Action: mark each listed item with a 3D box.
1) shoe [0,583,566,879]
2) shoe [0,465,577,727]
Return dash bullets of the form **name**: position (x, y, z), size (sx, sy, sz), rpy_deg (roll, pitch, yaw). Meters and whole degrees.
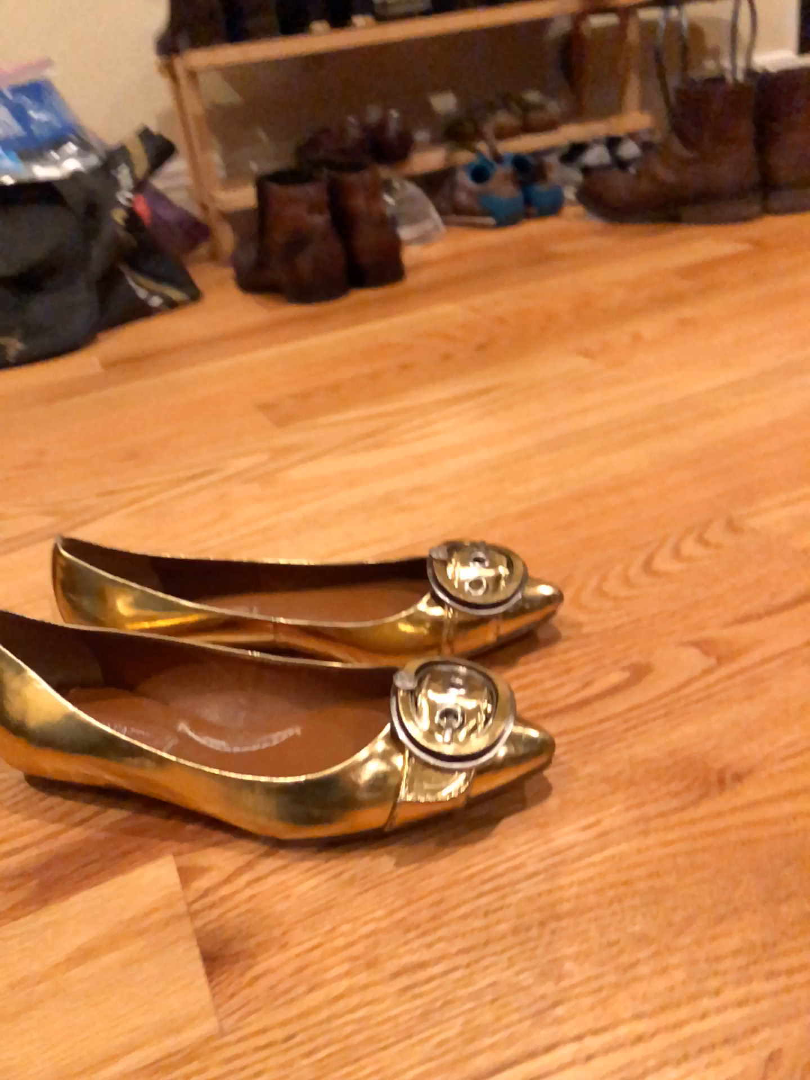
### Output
- **shoe**: position (-0.068, 0.066, 0.350), size (0.249, 0.066, 0.077), rpy_deg (0, 29, 16)
- **shoe**: position (-0.049, 0.025, 0.421), size (0.244, 0.066, 0.083), rpy_deg (-6, 28, 6)
